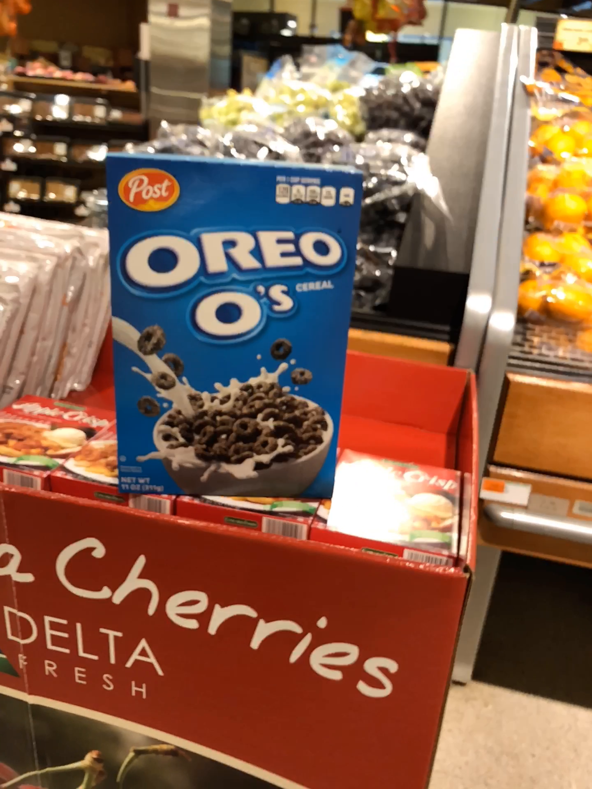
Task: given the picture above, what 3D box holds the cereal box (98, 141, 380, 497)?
[{"bbox_3d":[-0.049,-0.056,0.549,0.200,0.278,0.070,2,21,-5],"label":"cereal box"}]
